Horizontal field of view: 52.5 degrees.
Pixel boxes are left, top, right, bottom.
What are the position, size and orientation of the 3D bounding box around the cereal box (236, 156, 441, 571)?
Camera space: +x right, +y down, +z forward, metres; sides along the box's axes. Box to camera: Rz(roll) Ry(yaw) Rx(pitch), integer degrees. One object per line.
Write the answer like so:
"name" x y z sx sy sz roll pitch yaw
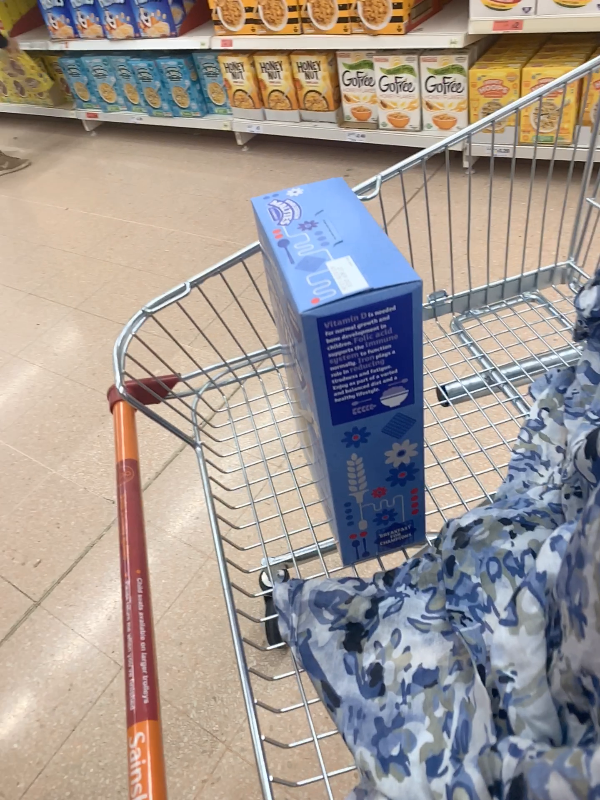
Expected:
"cereal box" 0.035 -0.029 0.550 0.090 0.287 0.222 -16 43 -6
